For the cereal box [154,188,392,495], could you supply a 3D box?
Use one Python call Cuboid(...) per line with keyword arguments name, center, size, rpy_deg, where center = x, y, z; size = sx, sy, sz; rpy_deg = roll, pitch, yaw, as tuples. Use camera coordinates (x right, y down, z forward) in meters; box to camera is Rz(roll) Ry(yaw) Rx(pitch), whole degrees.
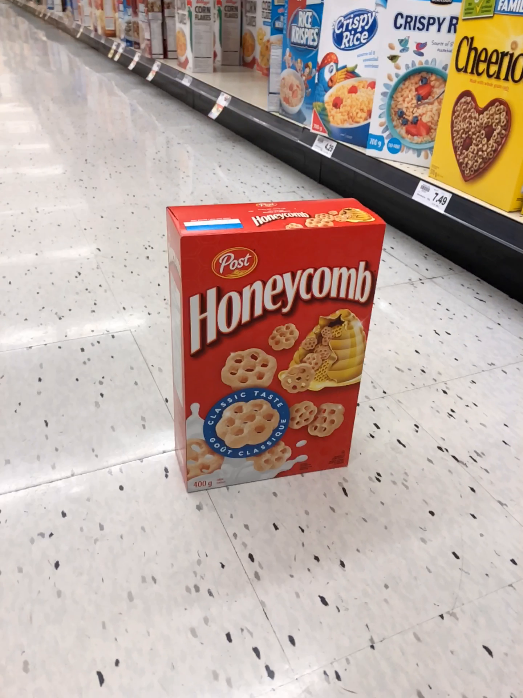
Cuboid(name="cereal box", center=(0.002, -0.002, 0.594), size=(0.200, 0.298, 0.080), rpy_deg=(-6, 33, -15))
